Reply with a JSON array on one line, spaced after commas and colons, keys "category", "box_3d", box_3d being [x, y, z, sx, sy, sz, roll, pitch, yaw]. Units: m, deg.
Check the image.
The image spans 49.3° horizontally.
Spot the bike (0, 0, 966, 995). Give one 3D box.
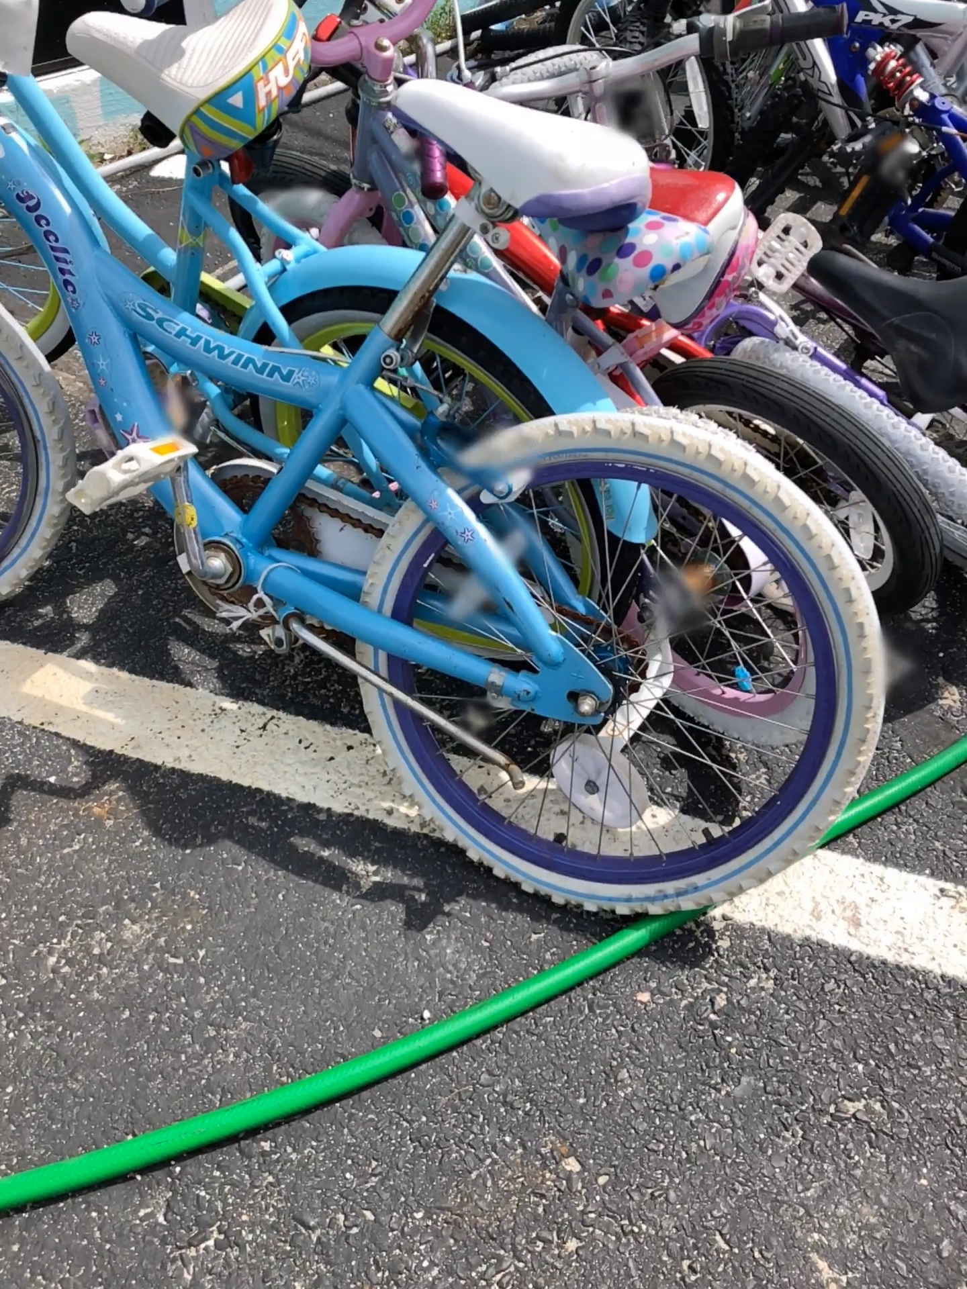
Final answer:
[{"category": "bike", "box_3d": [-0.218, -0.347, 0.907, 1.265, 0.777, 0.559, 17, 45, 7]}]
